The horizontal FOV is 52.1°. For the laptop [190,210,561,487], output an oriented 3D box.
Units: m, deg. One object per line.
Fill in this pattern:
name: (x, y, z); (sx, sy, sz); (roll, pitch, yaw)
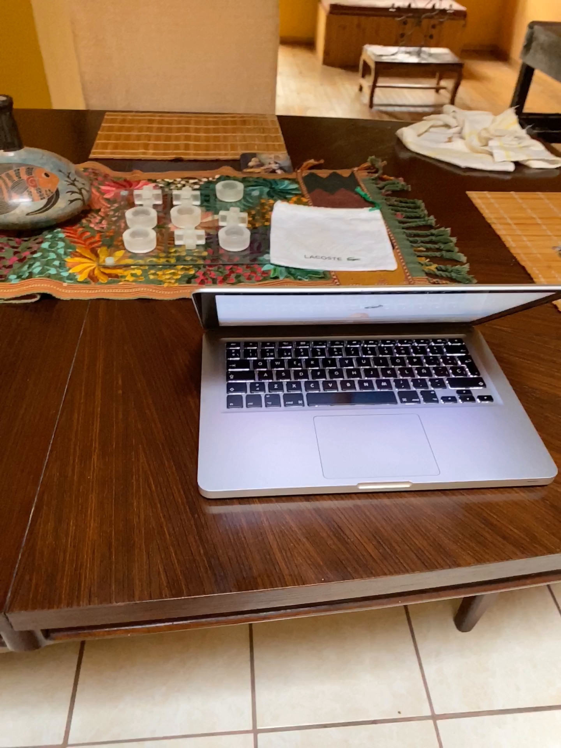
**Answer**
laptop: (0.083, -0.036, 0.549); (0.321, 0.152, 0.214); (-2, 41, -7)
